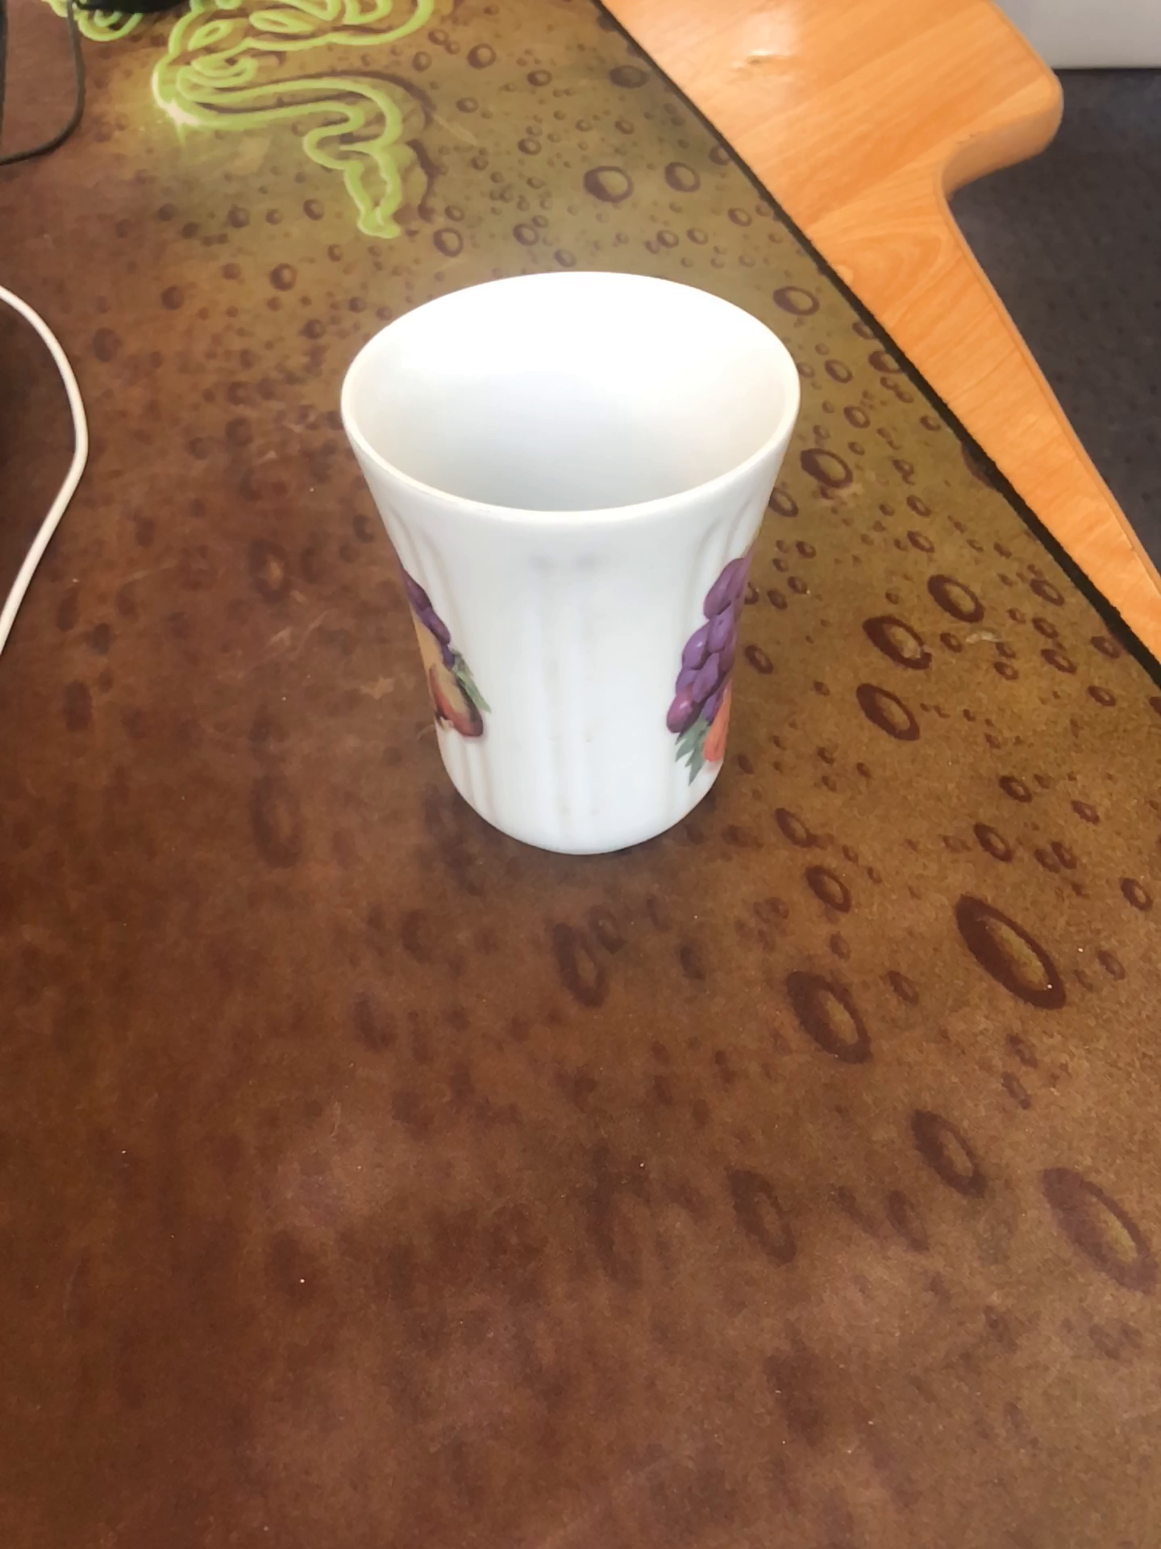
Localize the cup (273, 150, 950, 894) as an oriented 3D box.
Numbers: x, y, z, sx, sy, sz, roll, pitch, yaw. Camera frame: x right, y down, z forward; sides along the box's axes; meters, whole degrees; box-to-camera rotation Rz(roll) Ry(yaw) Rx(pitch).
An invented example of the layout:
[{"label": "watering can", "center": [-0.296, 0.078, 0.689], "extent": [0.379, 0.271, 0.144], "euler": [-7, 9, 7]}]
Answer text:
[{"label": "cup", "center": [0.001, -0.051, 0.245], "extent": [0.080, 0.080, 0.100], "euler": [-18, 49, -13]}]
